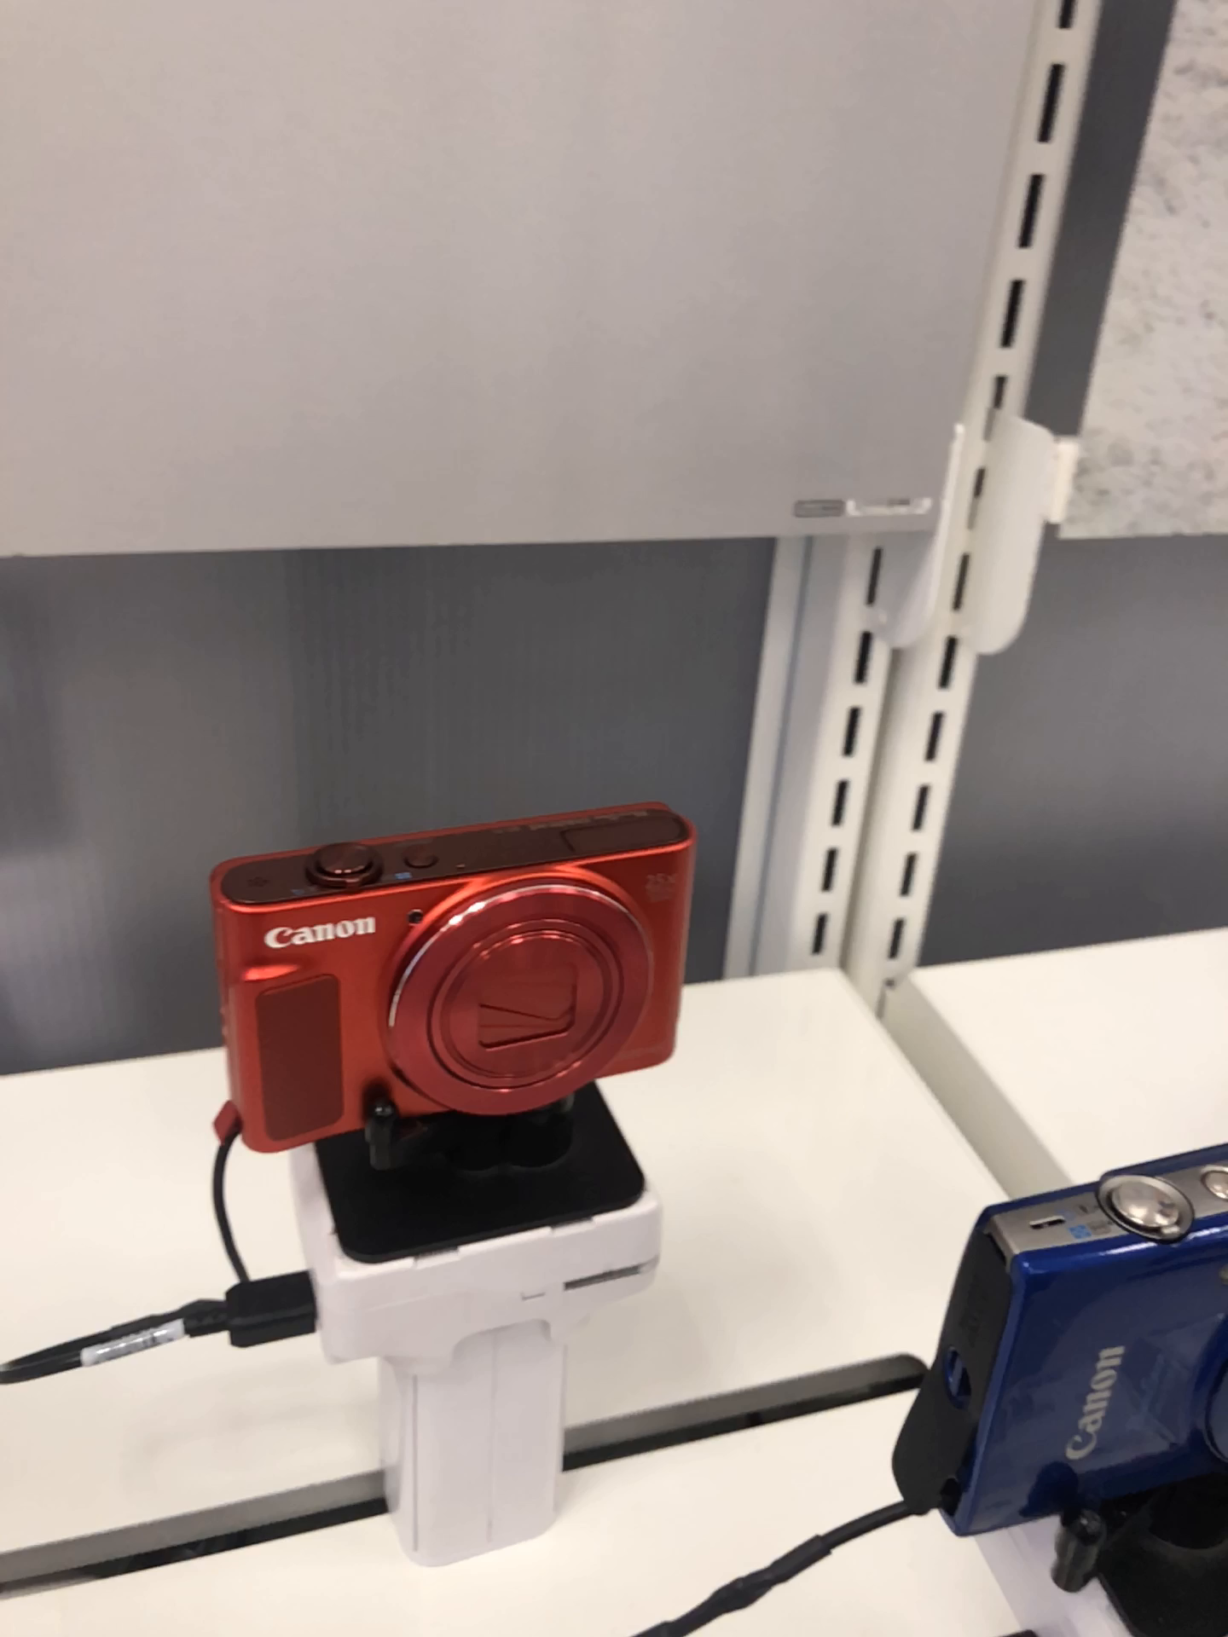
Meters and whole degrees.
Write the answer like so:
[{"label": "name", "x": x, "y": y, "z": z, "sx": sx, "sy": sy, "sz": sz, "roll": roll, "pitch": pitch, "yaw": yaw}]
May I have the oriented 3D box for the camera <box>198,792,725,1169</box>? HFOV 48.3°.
[{"label": "camera", "x": -0.030, "y": 0.030, "z": 0.273, "sx": 0.096, "sy": 0.053, "sz": 0.028, "roll": -8, "pitch": 30, "yaw": -20}]
